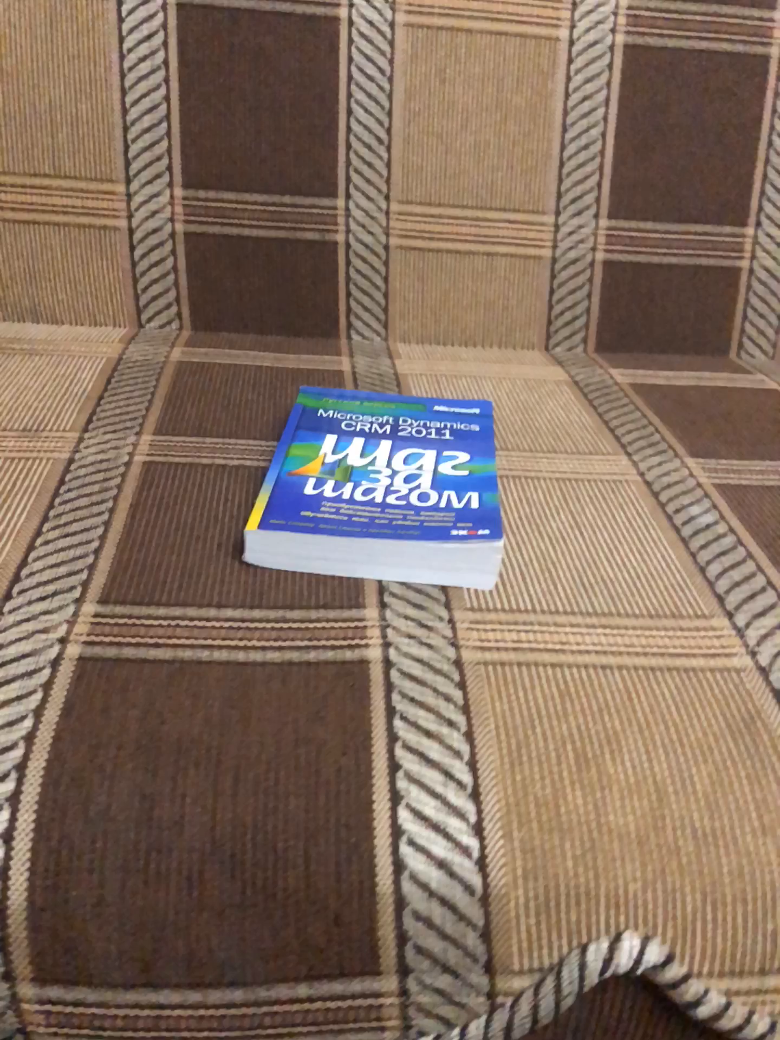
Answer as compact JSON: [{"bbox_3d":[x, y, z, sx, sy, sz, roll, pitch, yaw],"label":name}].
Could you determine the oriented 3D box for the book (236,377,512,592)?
[{"bbox_3d":[-0.004,-0.033,0.558,0.150,0.030,0.201,5,33,1],"label":"book"}]
